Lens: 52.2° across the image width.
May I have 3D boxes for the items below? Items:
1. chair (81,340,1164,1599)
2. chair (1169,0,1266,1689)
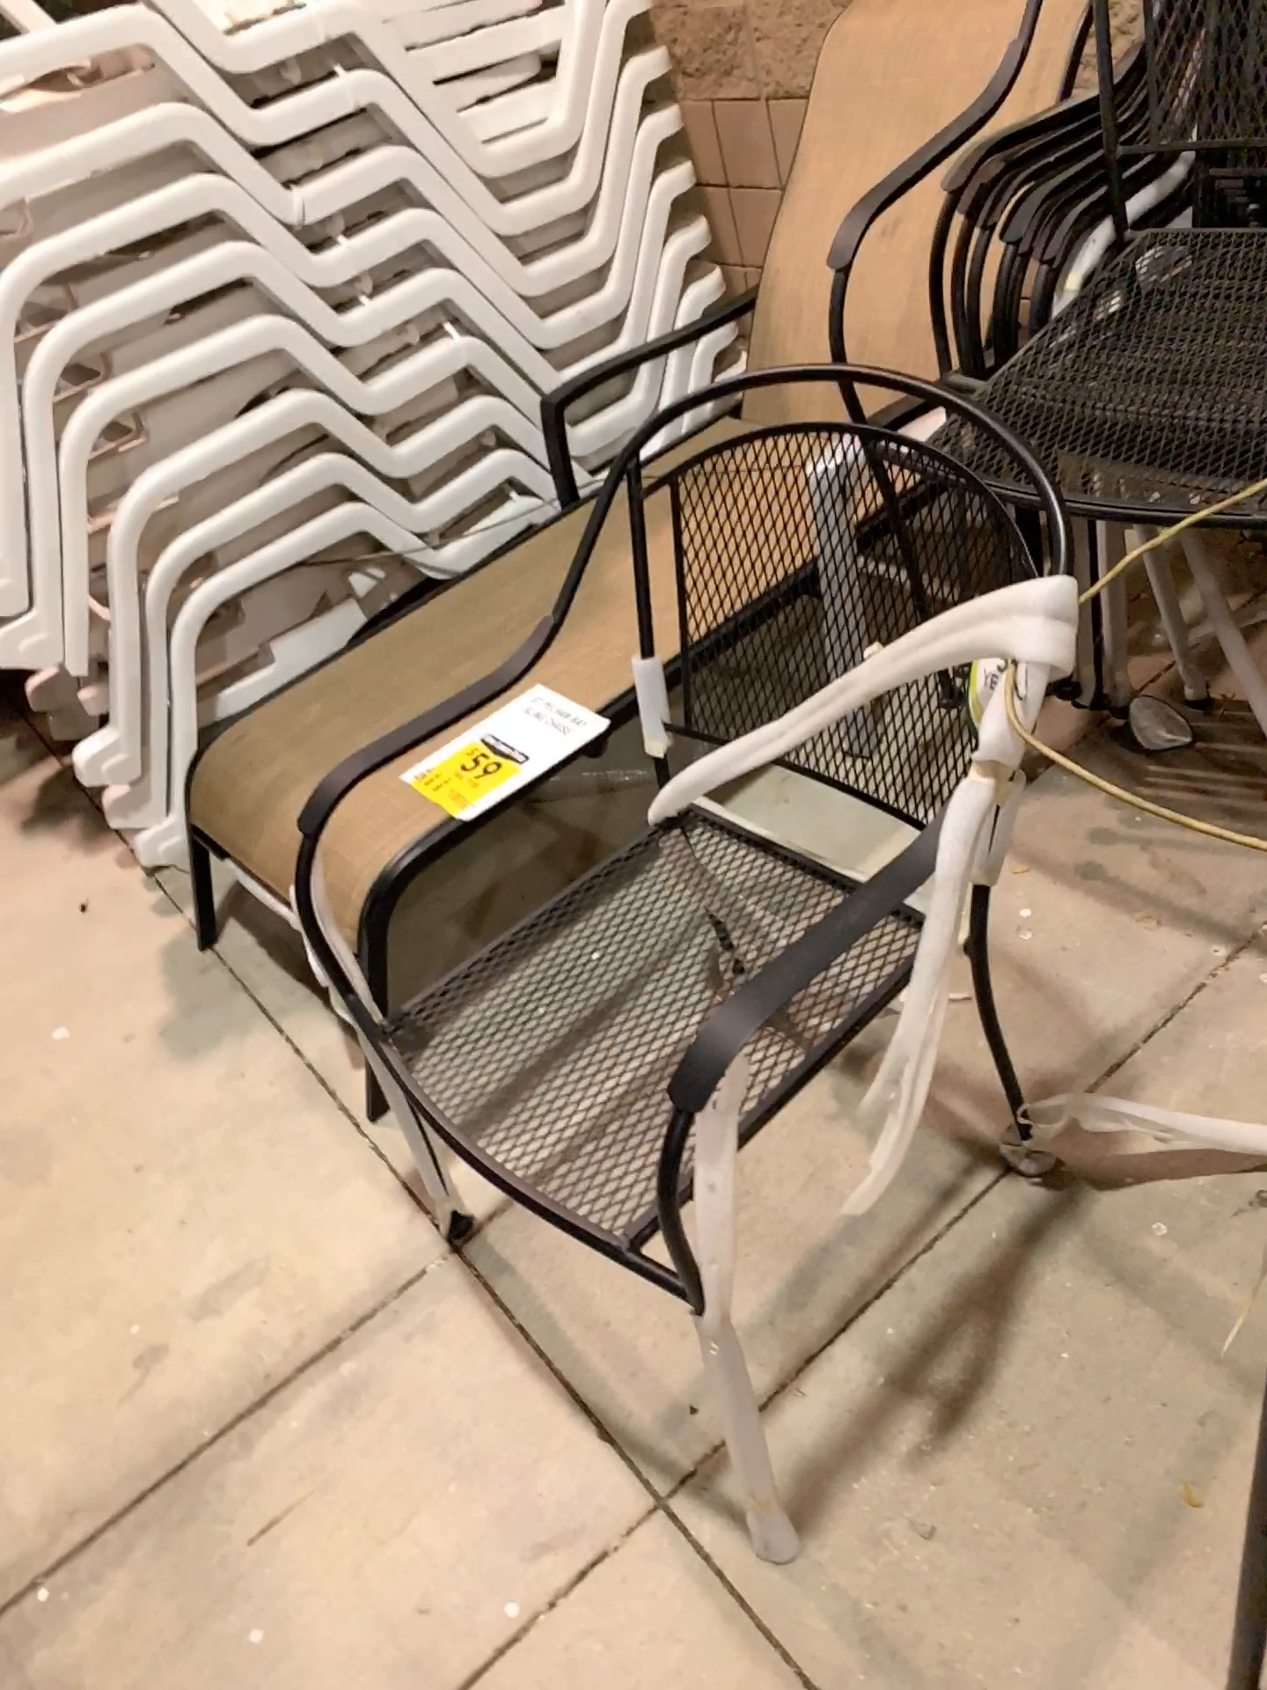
[{"bbox_3d":[0.067,0.089,1.258,0.639,0.869,0.577,-38,42,-25],"label":"chair"},{"bbox_3d":[0.776,0.195,0.639,0.708,1.128,0.637,-35,41,-22],"label":"chair"}]
